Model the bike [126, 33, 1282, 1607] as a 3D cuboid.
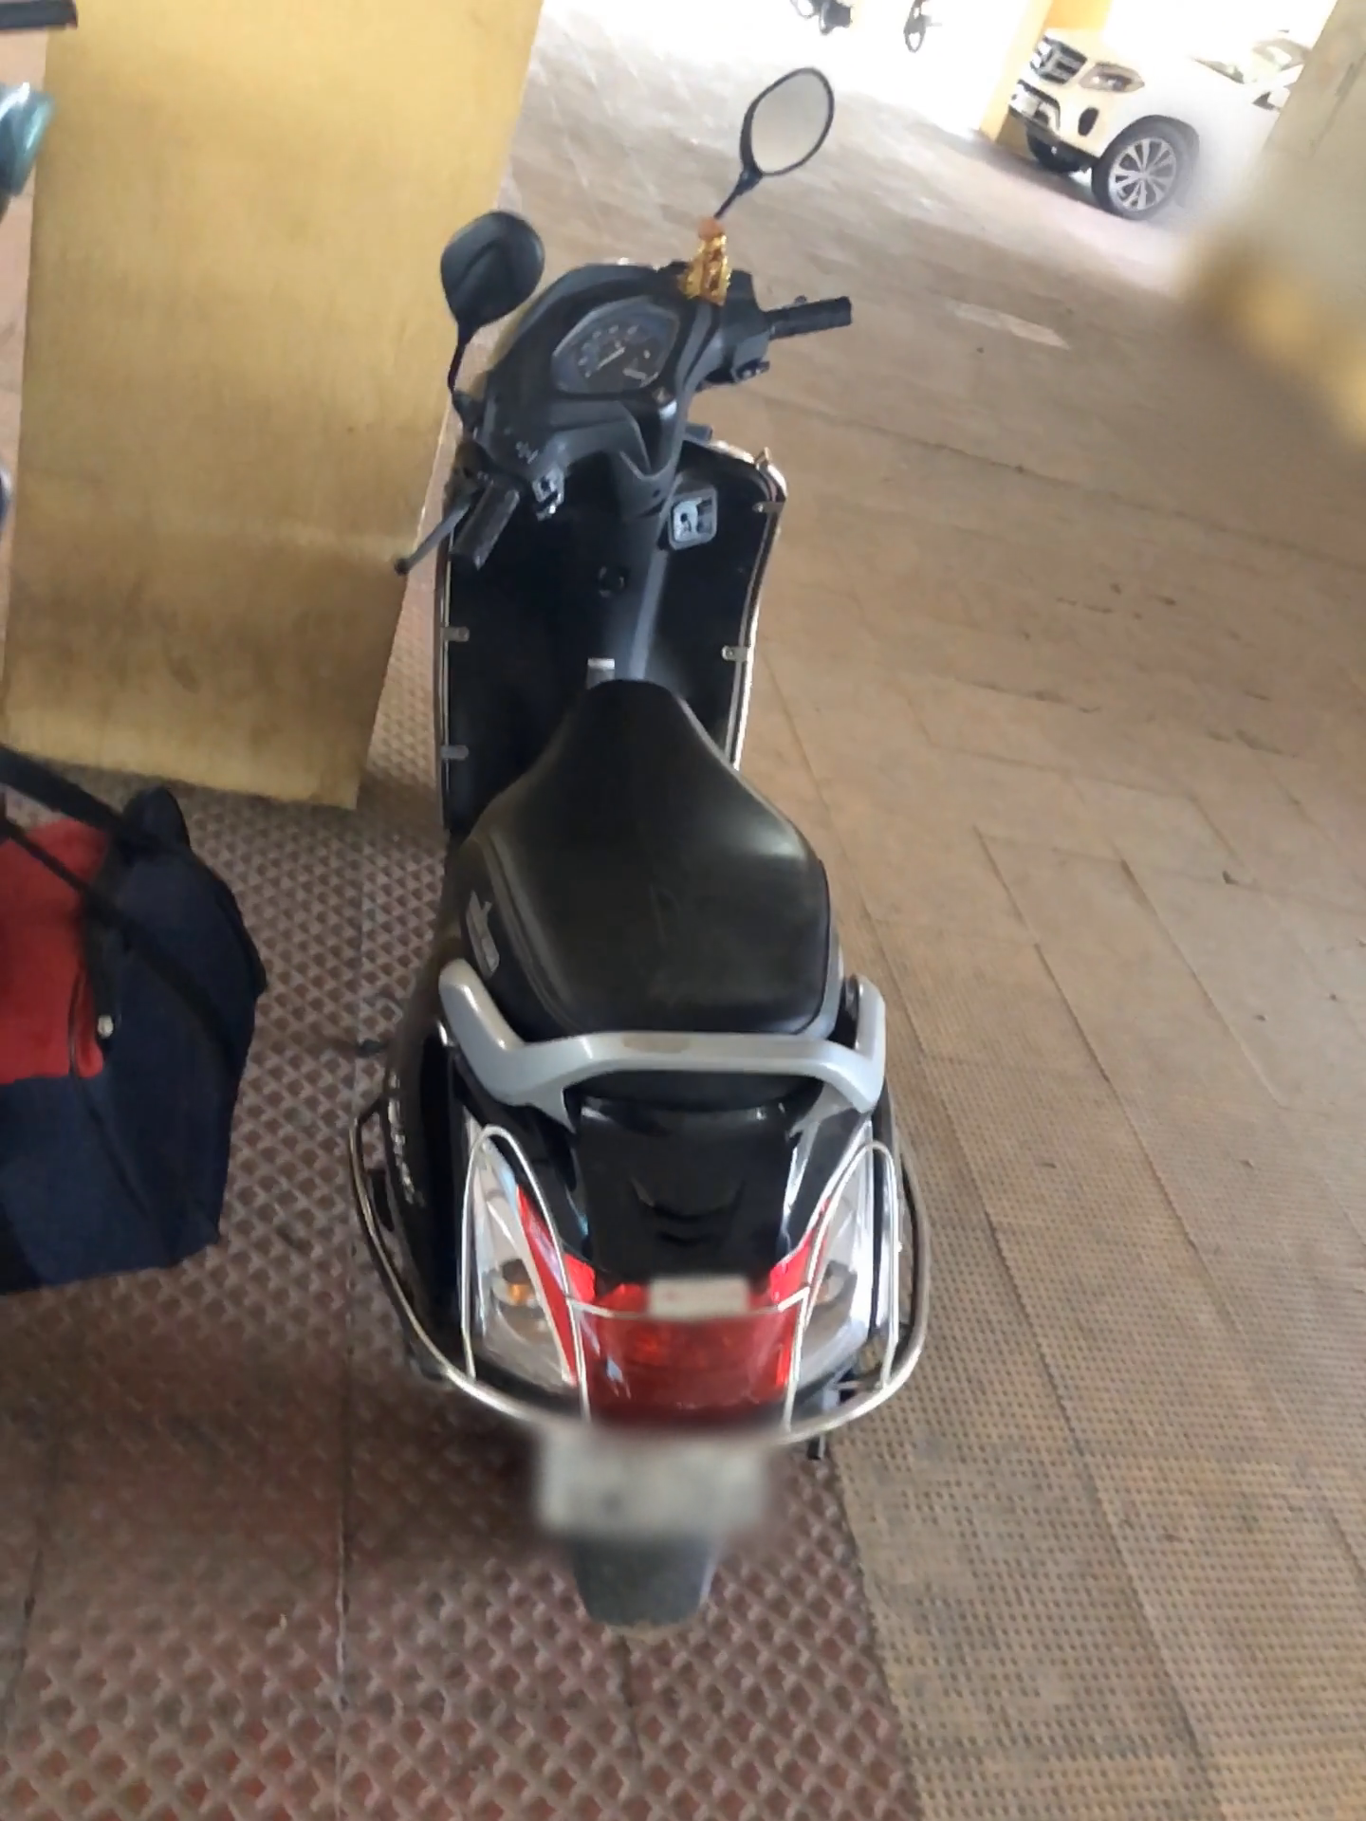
[{"bbox_3d":[-0.226,-0.247,1.728,0.622,0.882,1.666,7,38,-21],"label":"bike"}]
